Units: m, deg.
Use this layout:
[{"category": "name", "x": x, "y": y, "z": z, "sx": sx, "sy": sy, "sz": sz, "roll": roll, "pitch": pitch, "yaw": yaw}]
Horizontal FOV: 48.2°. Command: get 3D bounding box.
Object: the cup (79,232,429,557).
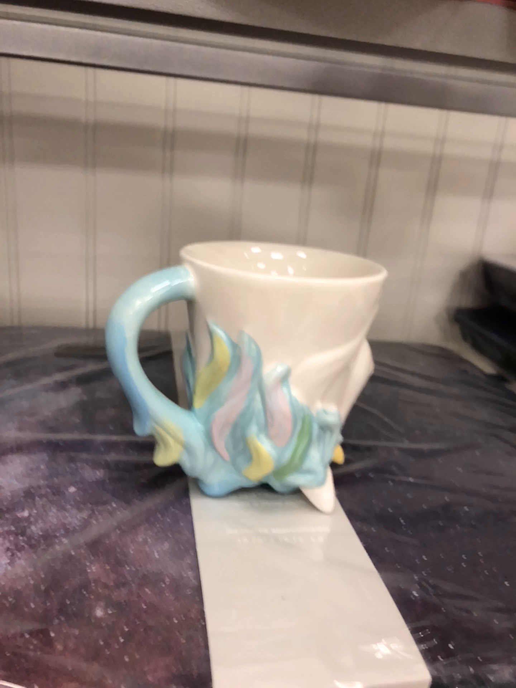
[{"category": "cup", "x": -0.012, "y": 0.013, "z": 0.293, "sx": 0.140, "sy": 0.118, "sz": 0.100, "roll": -3, "pitch": 20, "yaw": -22}]
